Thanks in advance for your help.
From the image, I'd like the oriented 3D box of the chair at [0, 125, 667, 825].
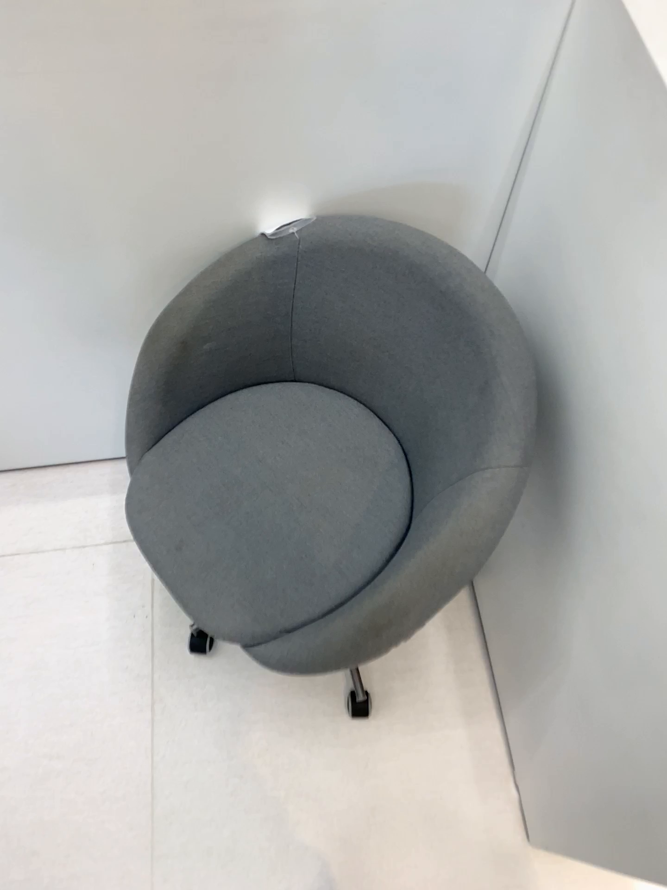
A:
[{"bbox_3d":[-0.044,0.106,1.263,0.710,0.829,0.731,-34,69,-16],"label":"chair"}]
